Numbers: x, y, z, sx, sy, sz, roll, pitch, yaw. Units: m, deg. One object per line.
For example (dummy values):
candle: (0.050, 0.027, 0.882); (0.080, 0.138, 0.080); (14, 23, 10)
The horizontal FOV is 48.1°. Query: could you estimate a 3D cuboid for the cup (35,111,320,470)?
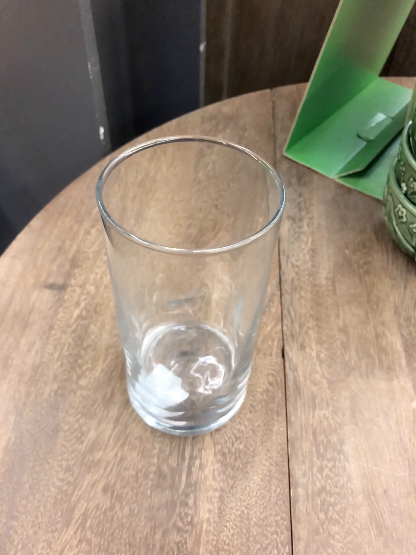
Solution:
cup: (-0.011, 0.013, 0.231); (0.078, 0.144, 0.082); (2, 47, -2)
